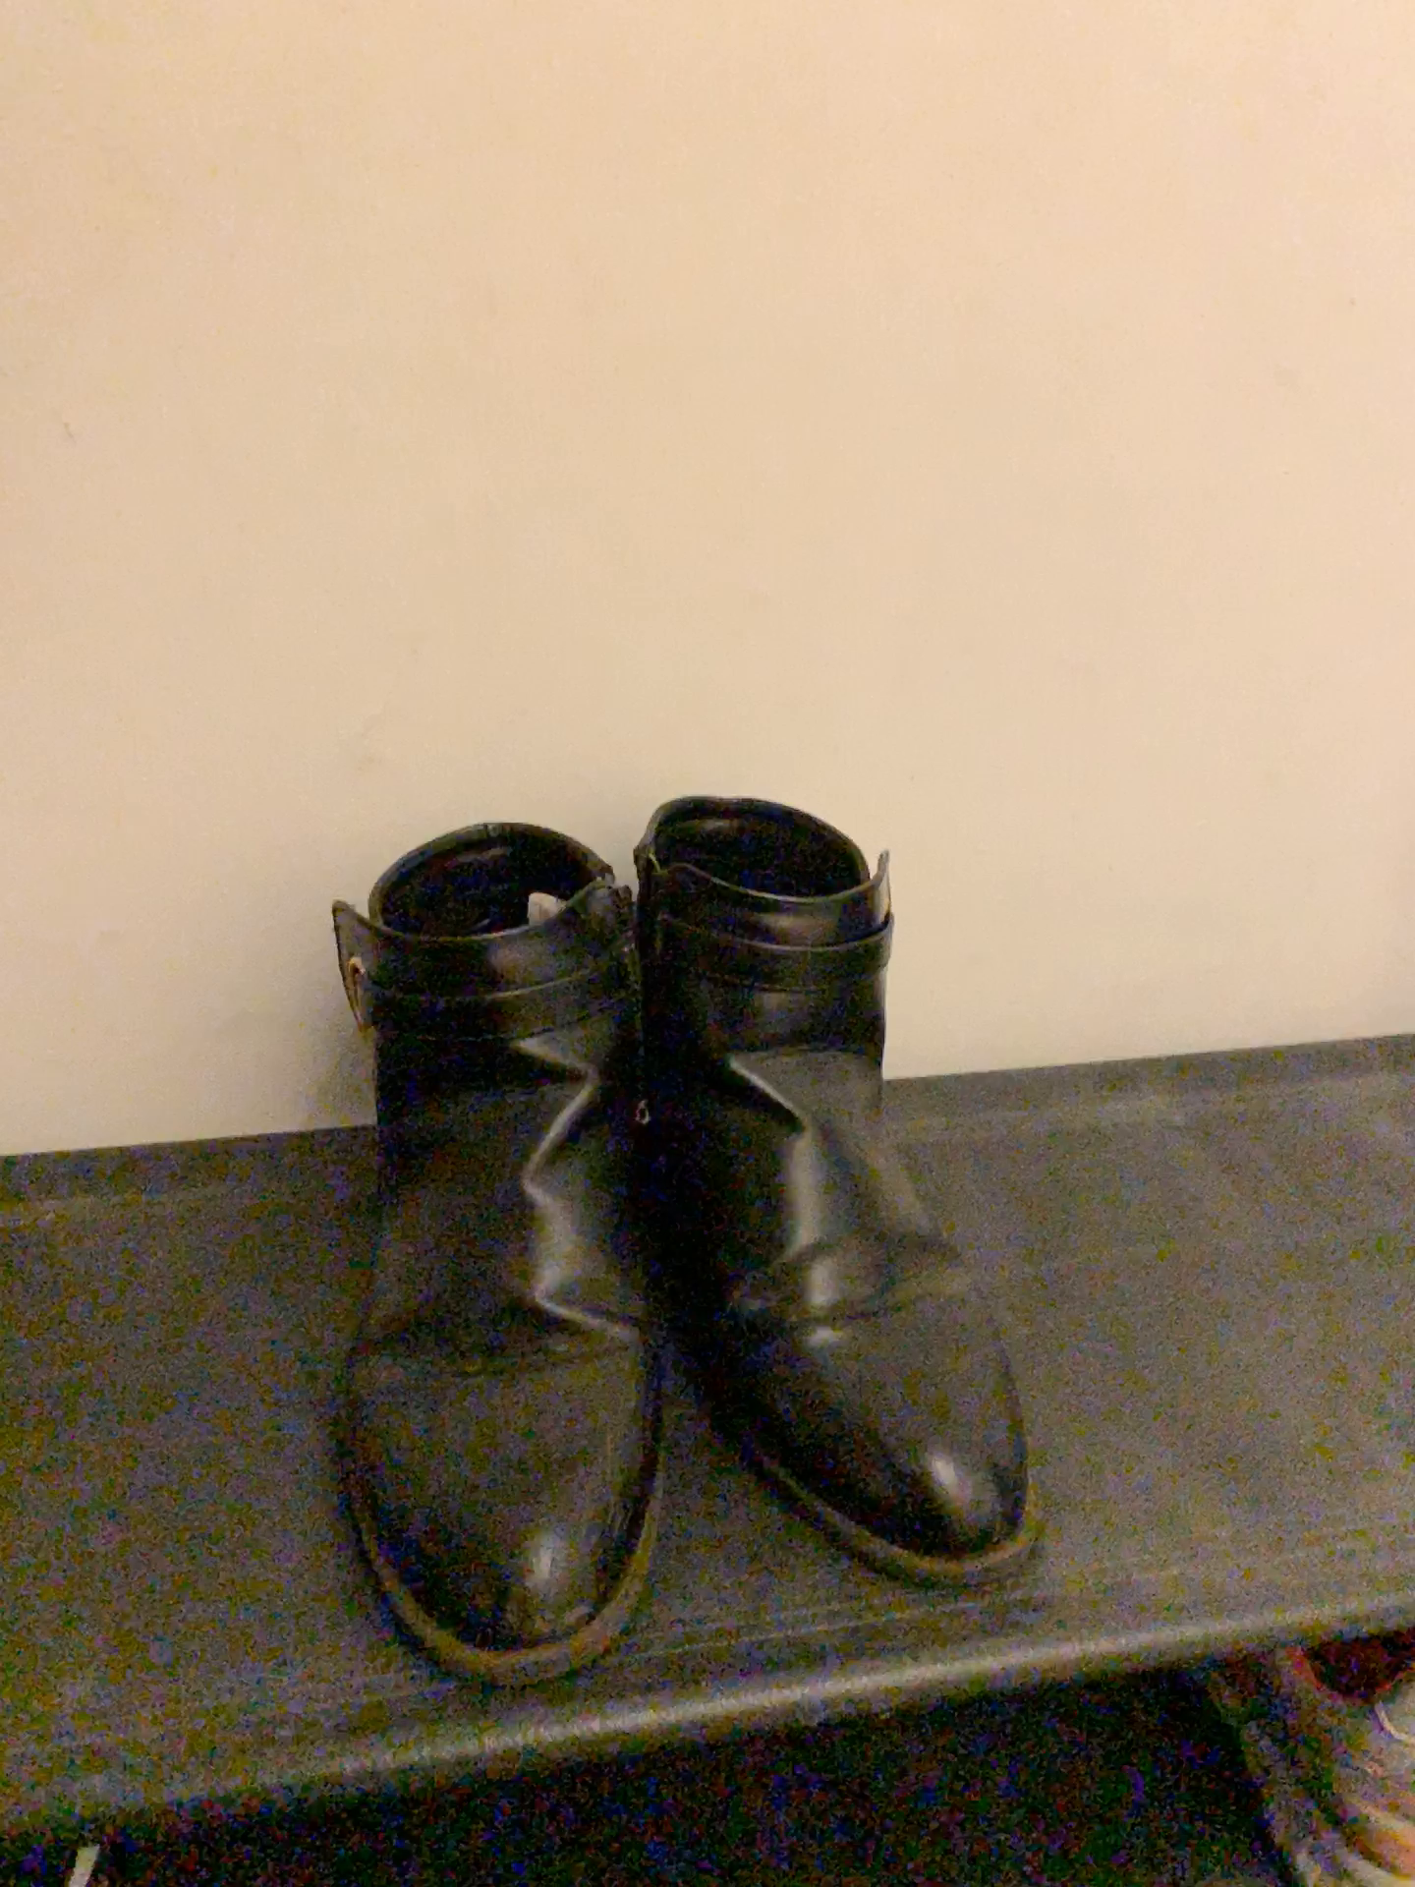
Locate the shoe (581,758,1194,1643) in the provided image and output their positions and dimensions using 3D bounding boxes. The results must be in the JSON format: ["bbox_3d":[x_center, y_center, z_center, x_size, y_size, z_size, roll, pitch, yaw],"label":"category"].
[{"bbox_3d":[0.034,0.060,0.482,0.100,0.169,0.242,-6,26,-16],"label":"shoe"}]

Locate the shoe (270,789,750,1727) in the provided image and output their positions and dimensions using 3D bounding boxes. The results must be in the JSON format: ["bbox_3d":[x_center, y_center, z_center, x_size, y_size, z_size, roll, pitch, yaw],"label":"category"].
[{"bbox_3d":[-0.061,0.071,0.439,0.100,0.169,0.222,-3,25,-10],"label":"shoe"}]
